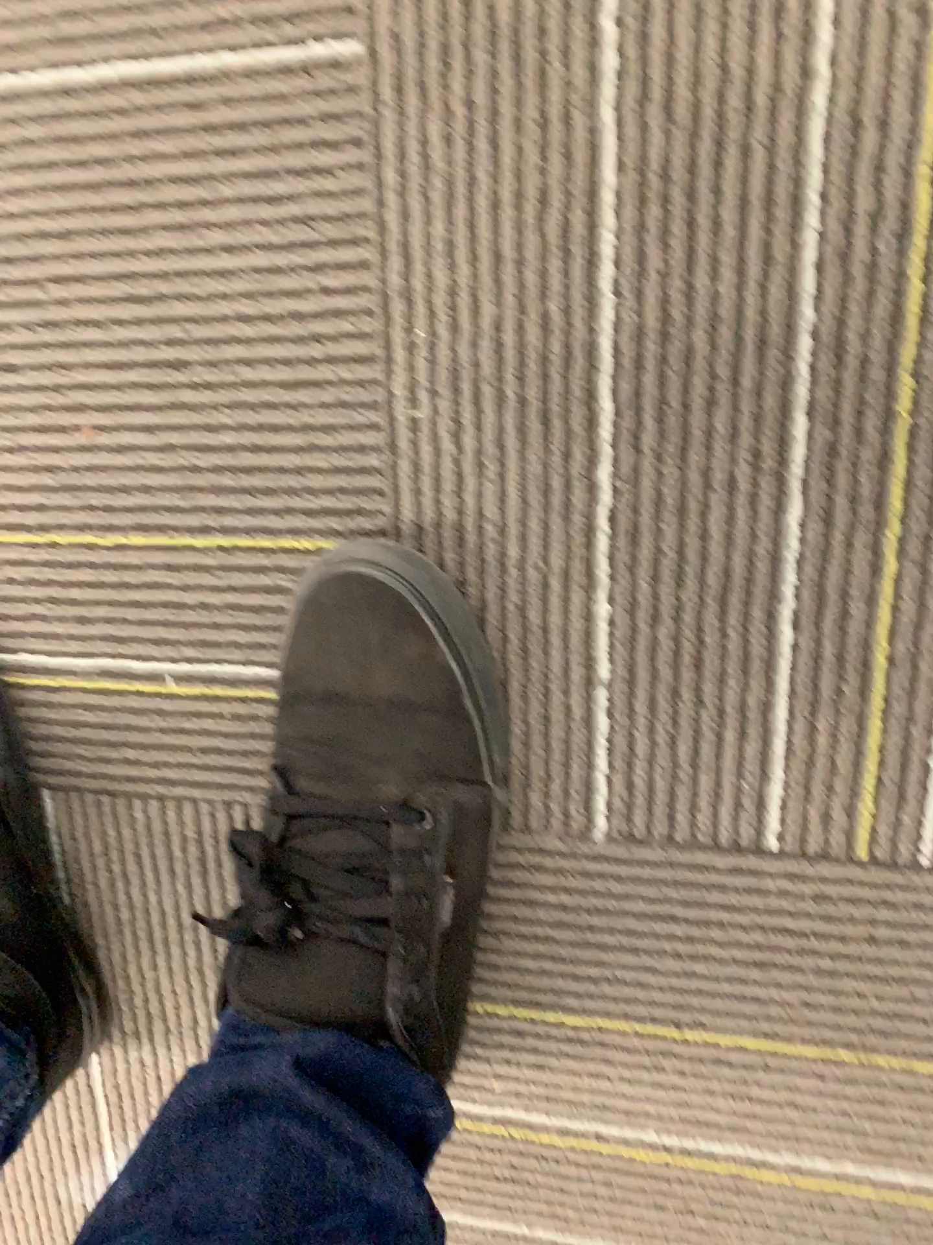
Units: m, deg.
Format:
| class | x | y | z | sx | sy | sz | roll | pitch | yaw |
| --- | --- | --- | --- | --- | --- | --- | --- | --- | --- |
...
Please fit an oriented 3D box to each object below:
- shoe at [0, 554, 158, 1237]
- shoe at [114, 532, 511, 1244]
| class | x | y | z | sx | sy | sz | roll | pitch | yaw |
| --- | --- | --- | --- | --- | --- | --- | --- | --- | --- |
| shoe | -0.275 | 0.130 | 0.460 | 0.109 | 0.113 | 0.291 | -12 | 103 | 17 |
| shoe | -0.047 | 0.118 | 0.397 | 0.109 | 0.113 | 0.291 | 3 | 107 | 13 |
